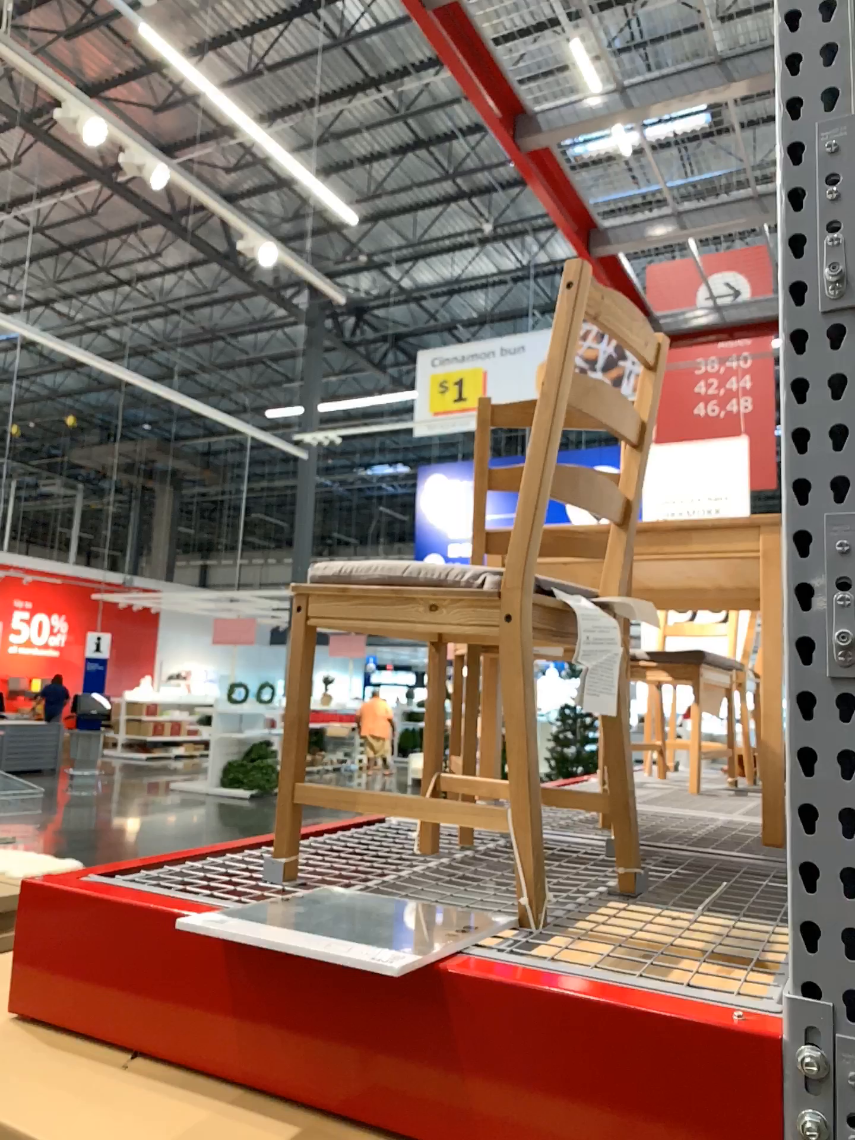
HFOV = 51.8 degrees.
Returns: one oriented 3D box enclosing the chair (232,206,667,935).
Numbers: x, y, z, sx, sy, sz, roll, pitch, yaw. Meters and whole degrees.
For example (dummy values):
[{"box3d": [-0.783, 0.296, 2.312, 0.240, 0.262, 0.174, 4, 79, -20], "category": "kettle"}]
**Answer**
[{"box3d": [0.065, 0.013, 1.403, 0.500, 0.912, 0.439, -3, -10, 32], "category": "chair"}]
